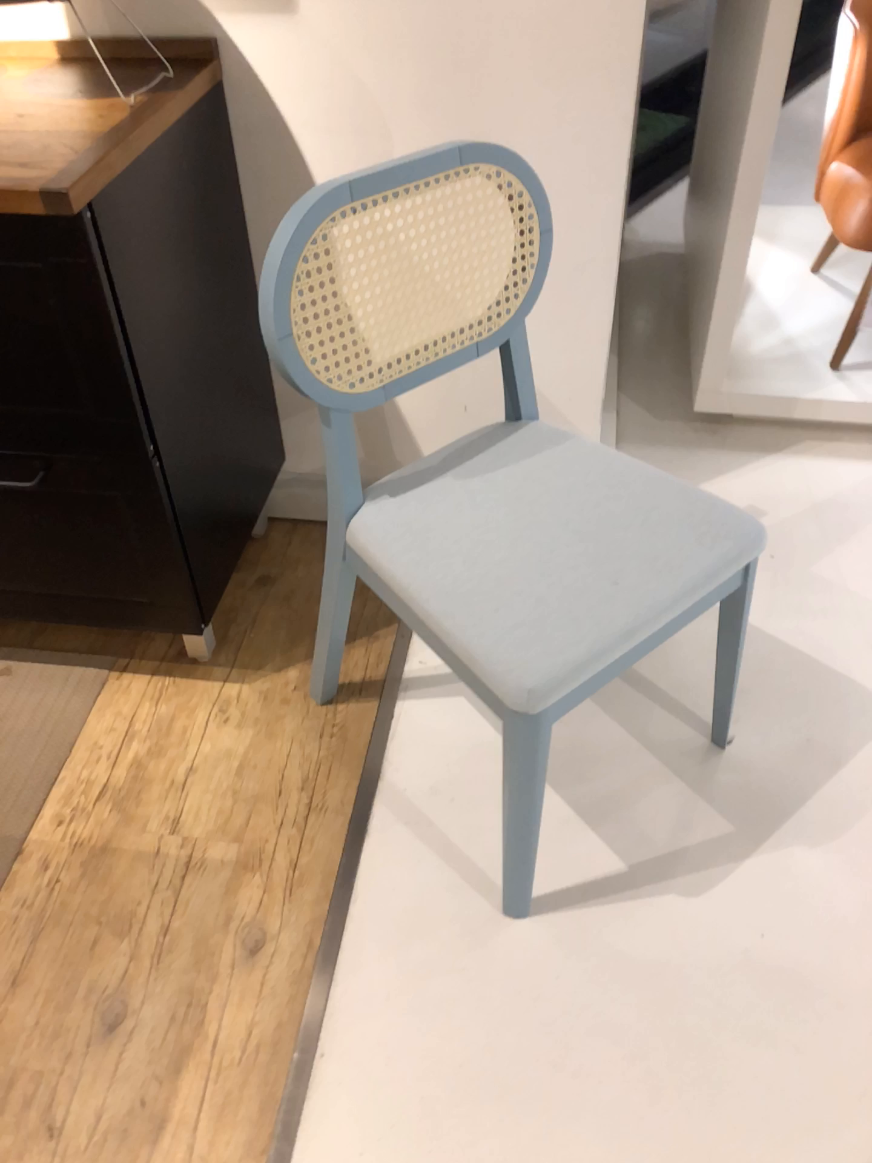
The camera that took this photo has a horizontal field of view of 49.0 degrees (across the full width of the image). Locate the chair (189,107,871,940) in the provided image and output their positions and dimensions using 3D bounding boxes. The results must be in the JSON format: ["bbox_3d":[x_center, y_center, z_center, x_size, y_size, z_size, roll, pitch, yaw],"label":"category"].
[{"bbox_3d":[0.103,-0.076,1.277,0.482,0.824,0.562,-30,49,-27],"label":"chair"}]
